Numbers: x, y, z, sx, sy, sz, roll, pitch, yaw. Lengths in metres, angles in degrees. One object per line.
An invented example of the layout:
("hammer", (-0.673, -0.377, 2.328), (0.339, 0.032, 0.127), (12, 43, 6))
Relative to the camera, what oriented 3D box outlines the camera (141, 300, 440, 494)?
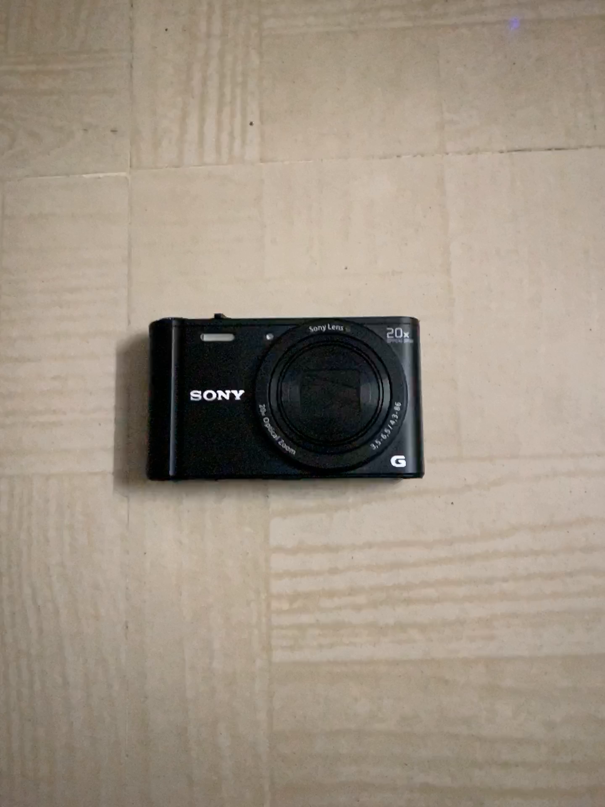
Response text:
("camera", (-0.004, -0.001, 0.209), (0.092, 0.025, 0.060), (-1, 83, 3))
